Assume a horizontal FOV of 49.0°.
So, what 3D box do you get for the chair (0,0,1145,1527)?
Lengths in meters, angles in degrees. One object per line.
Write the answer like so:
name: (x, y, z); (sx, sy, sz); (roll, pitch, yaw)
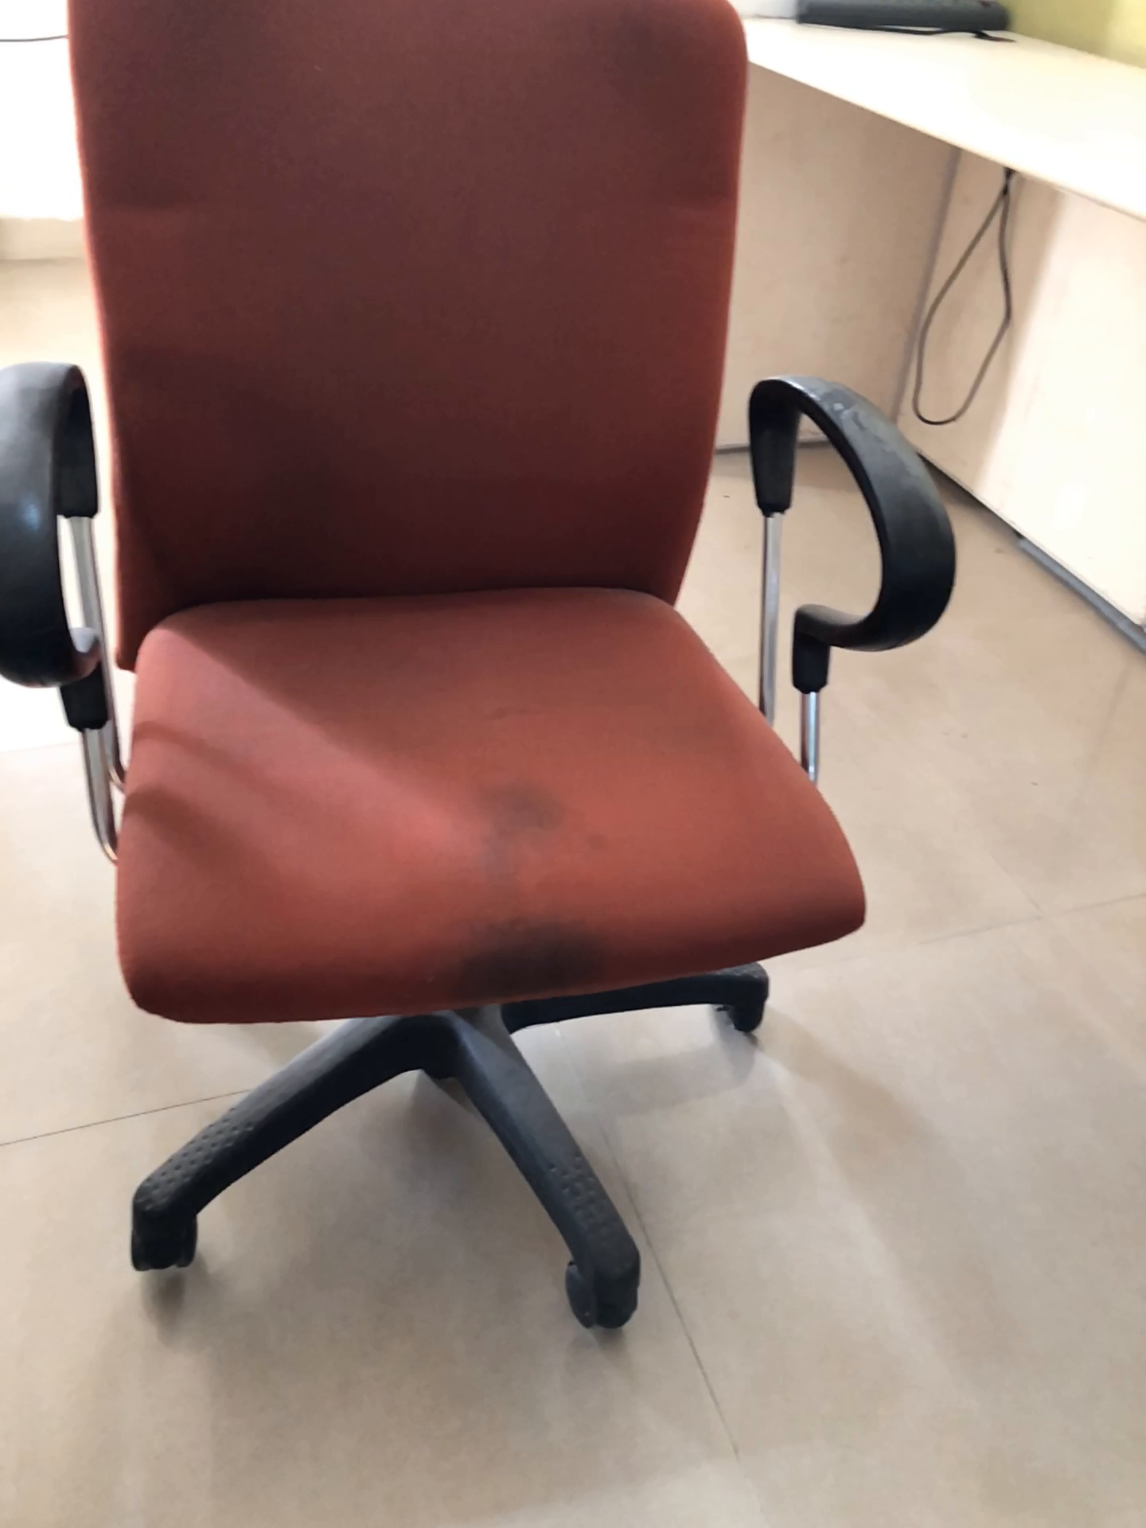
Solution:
chair: (-0.104, -0.054, 1.028); (0.771, 1.042, 0.704); (-4, 38, -12)
